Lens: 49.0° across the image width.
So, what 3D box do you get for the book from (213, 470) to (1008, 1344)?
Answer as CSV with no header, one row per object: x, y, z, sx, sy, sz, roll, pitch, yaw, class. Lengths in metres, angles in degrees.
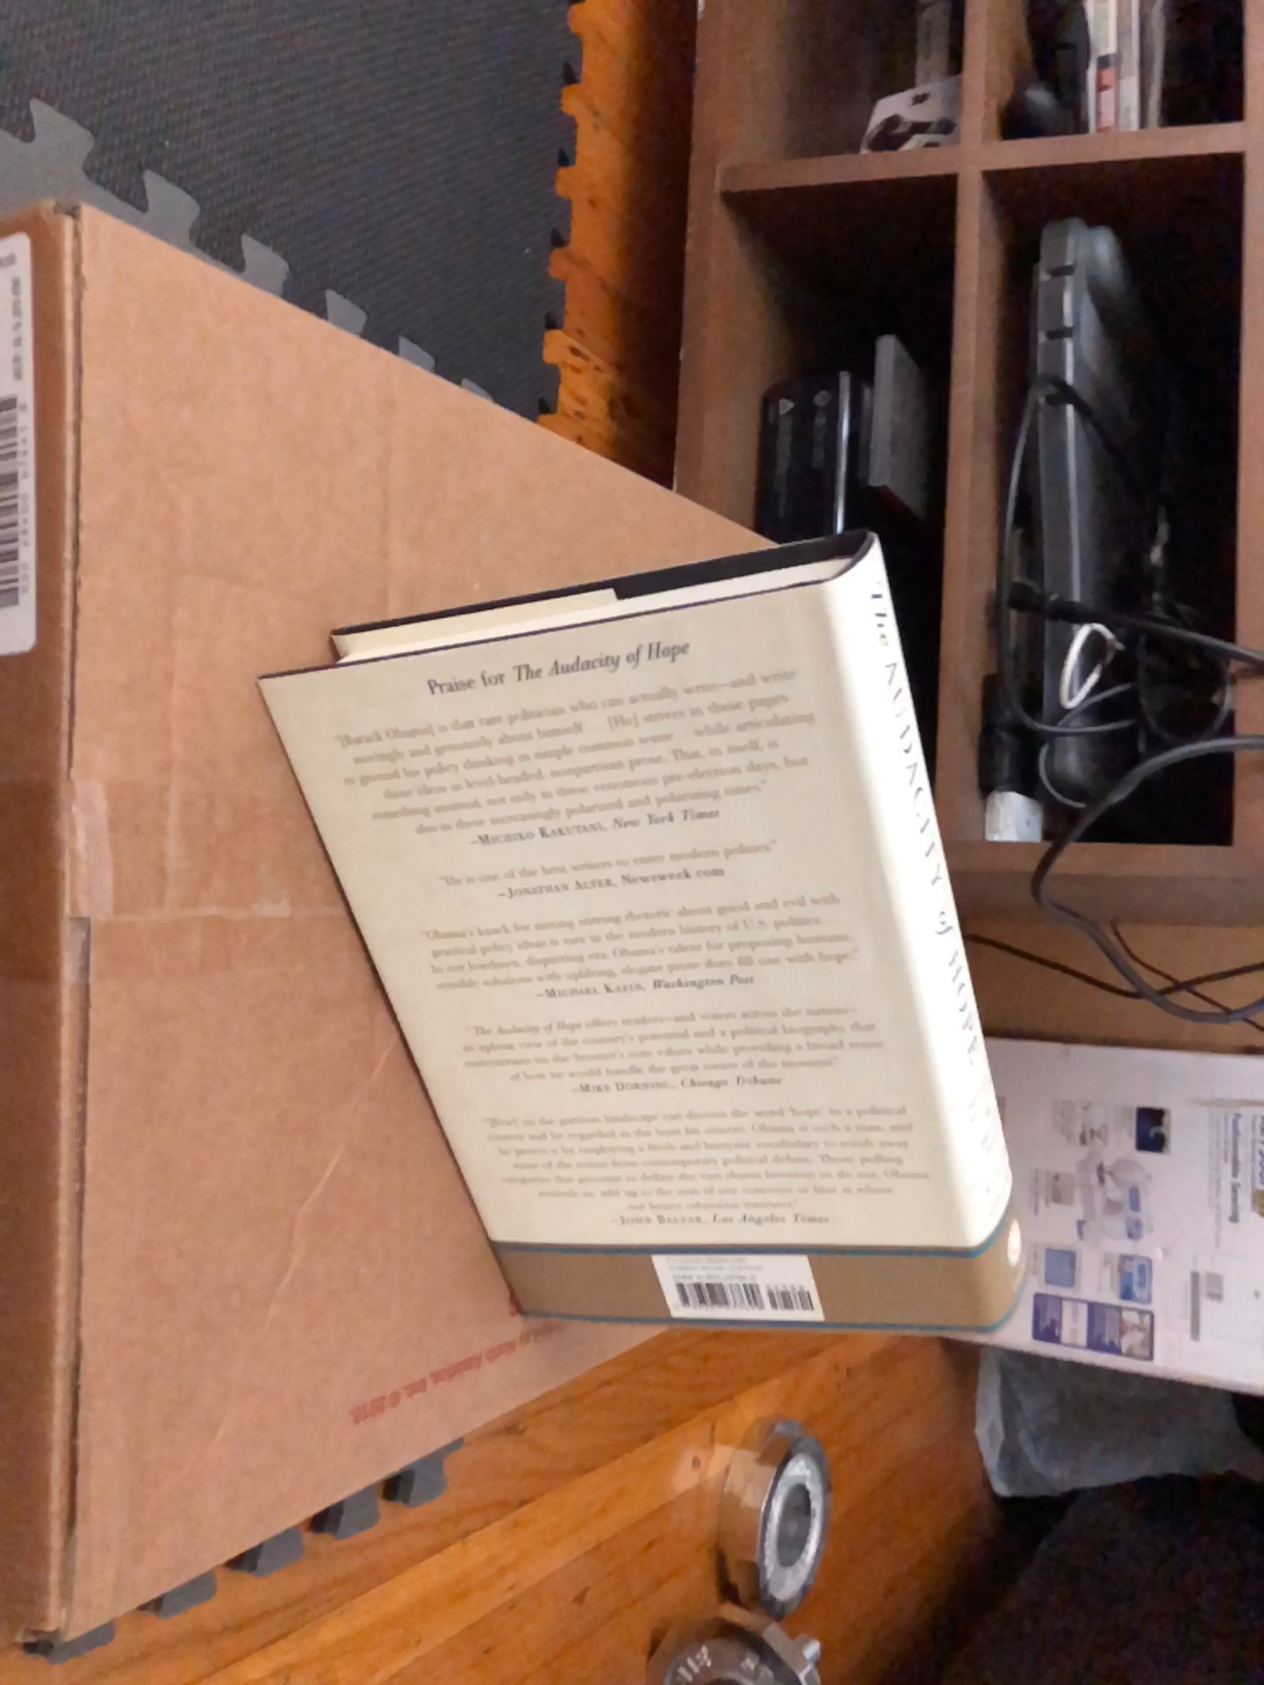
0.007,0.034,0.417,0.060,0.169,0.250,-60,140,-56,book
